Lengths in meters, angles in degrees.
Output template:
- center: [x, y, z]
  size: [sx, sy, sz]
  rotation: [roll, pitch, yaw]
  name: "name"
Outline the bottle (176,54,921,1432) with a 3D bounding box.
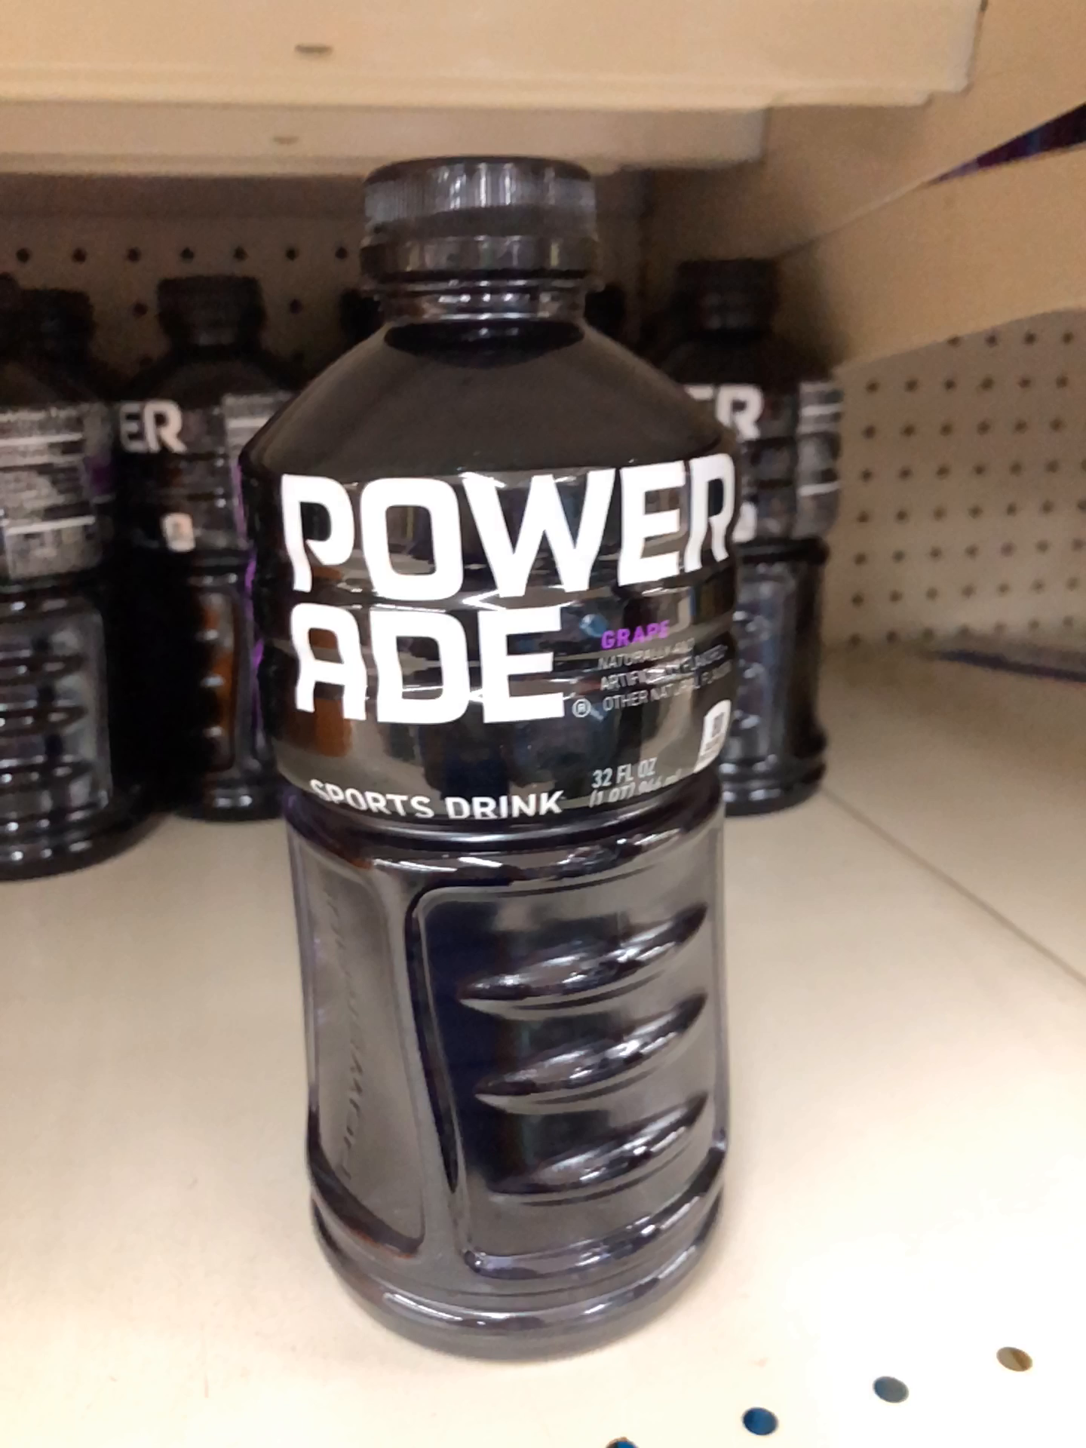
- center: [-0.006, 0.003, 0.229]
  size: [0.098, 0.210, 0.090]
  rotation: [-1, 18, 0]
  name: "bottle"
